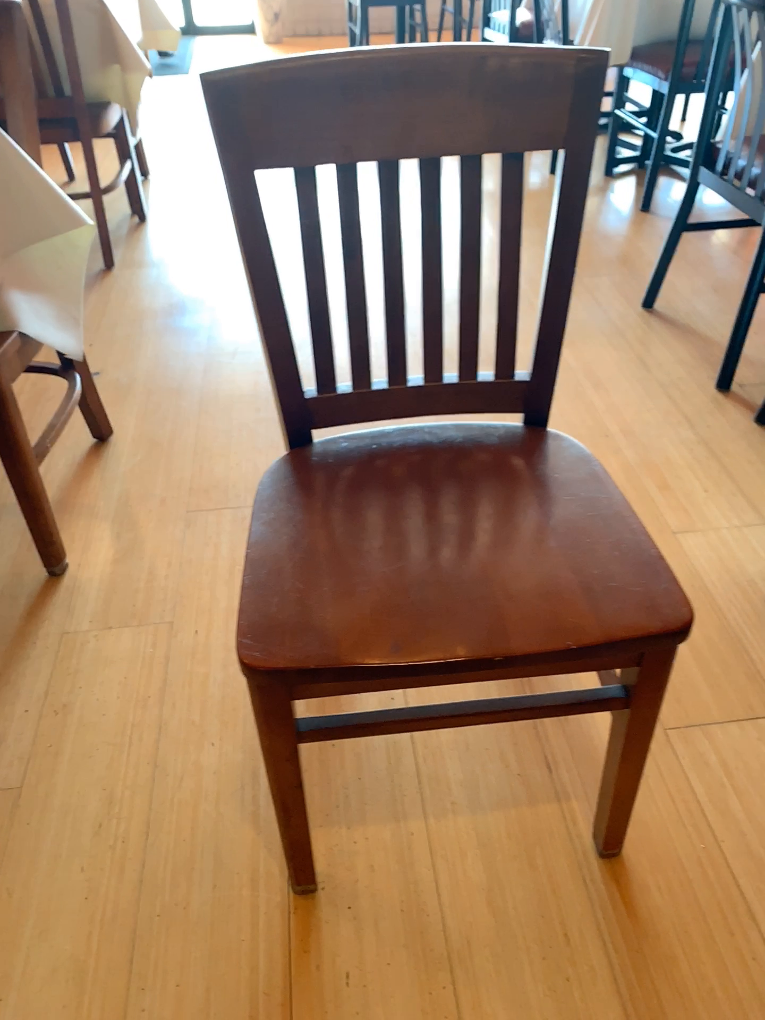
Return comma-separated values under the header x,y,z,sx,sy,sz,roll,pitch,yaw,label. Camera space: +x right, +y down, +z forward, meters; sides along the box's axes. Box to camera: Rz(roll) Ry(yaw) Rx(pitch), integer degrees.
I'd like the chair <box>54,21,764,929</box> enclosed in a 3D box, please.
x,y,z,sx,sy,sz,roll,pitch,yaw,label
0.070,-0.027,0.944,0.540,0.875,0.573,-5,38,-4,chair
